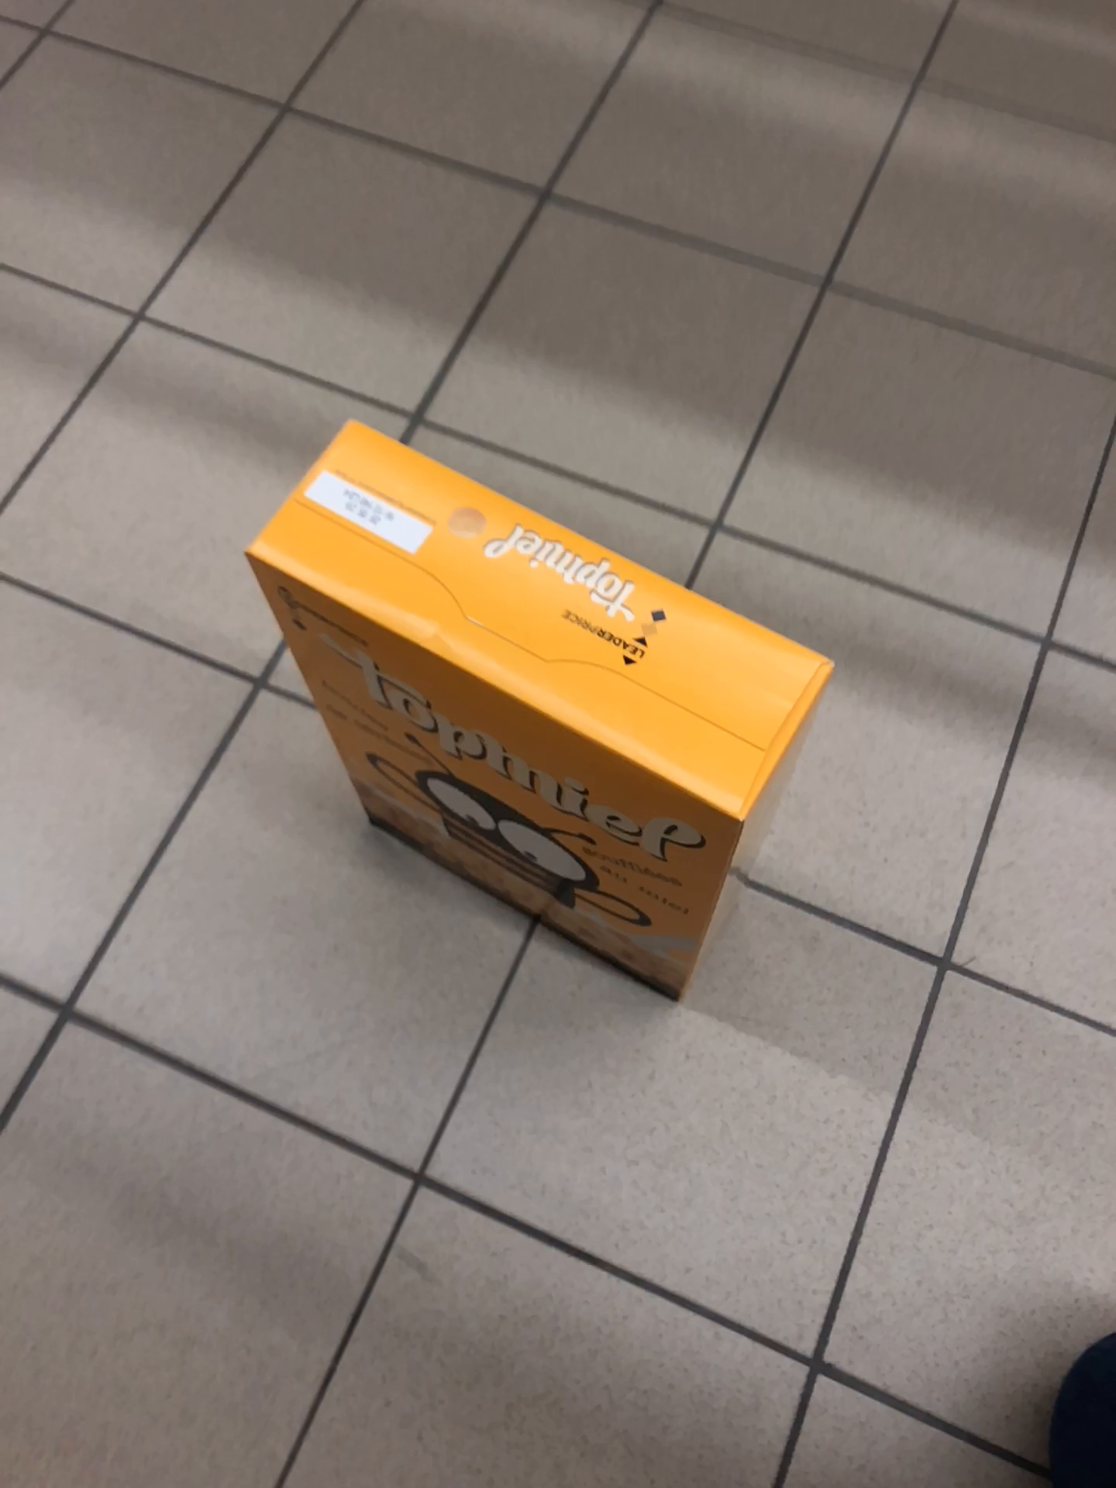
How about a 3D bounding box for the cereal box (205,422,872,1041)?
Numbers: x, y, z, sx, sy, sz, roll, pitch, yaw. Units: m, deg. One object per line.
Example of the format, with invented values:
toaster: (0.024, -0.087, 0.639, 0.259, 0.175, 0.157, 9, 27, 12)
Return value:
cereal box: (-0.008, 0.017, 0.510, 0.210, 0.269, 0.060, 29, 69, 13)
